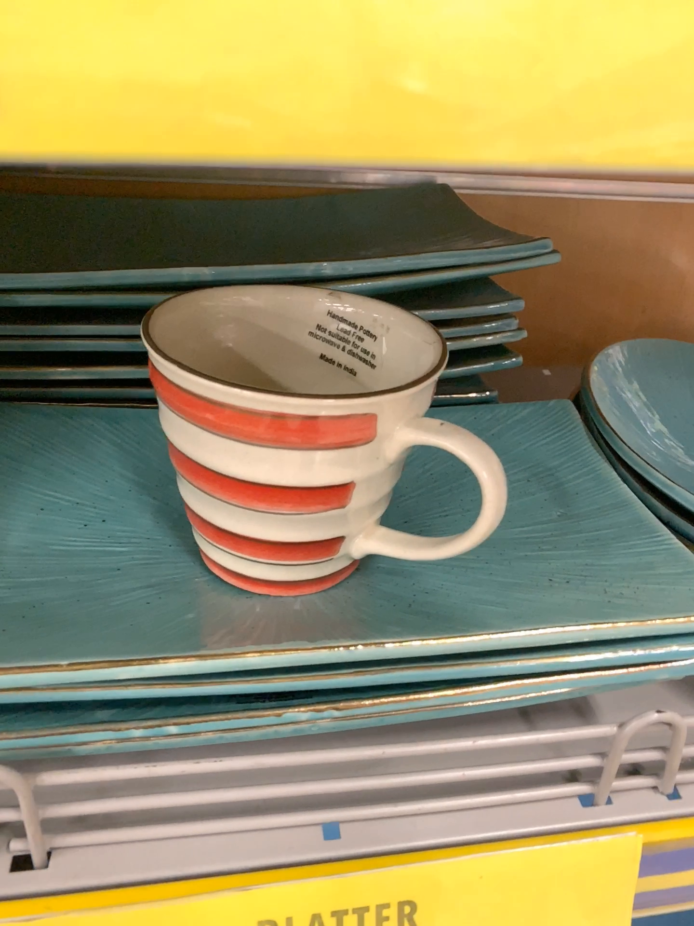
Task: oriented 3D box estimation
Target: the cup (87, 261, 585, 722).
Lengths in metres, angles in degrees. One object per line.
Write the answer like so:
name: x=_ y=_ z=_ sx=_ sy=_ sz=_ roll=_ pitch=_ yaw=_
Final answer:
cup: x=-0.006 y=-0.004 z=0.258 sx=0.130 sy=0.090 sz=0.100 roll=25 pitch=36 yaw=28
